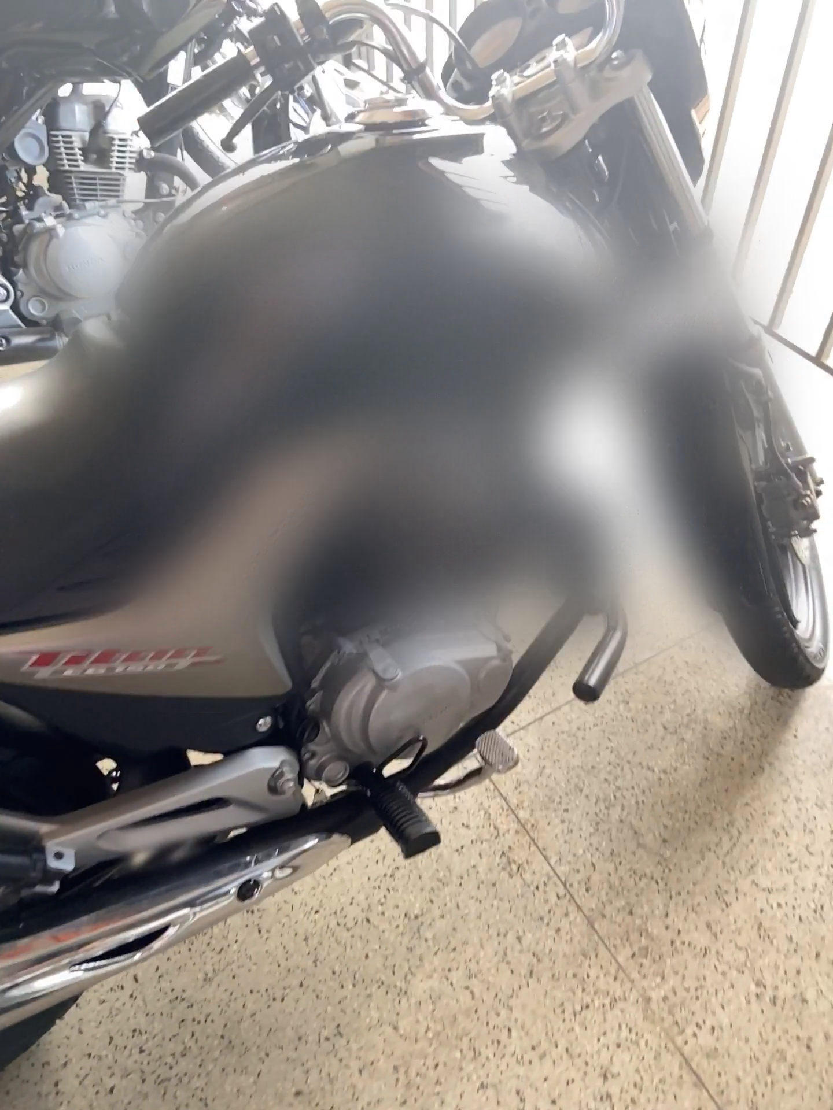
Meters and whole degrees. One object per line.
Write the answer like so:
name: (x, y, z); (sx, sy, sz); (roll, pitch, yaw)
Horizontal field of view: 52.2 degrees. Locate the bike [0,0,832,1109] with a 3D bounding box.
bike: (-0.187, -0.143, 0.995); (1.740, 1.137, 0.776); (-27, 51, -24)
